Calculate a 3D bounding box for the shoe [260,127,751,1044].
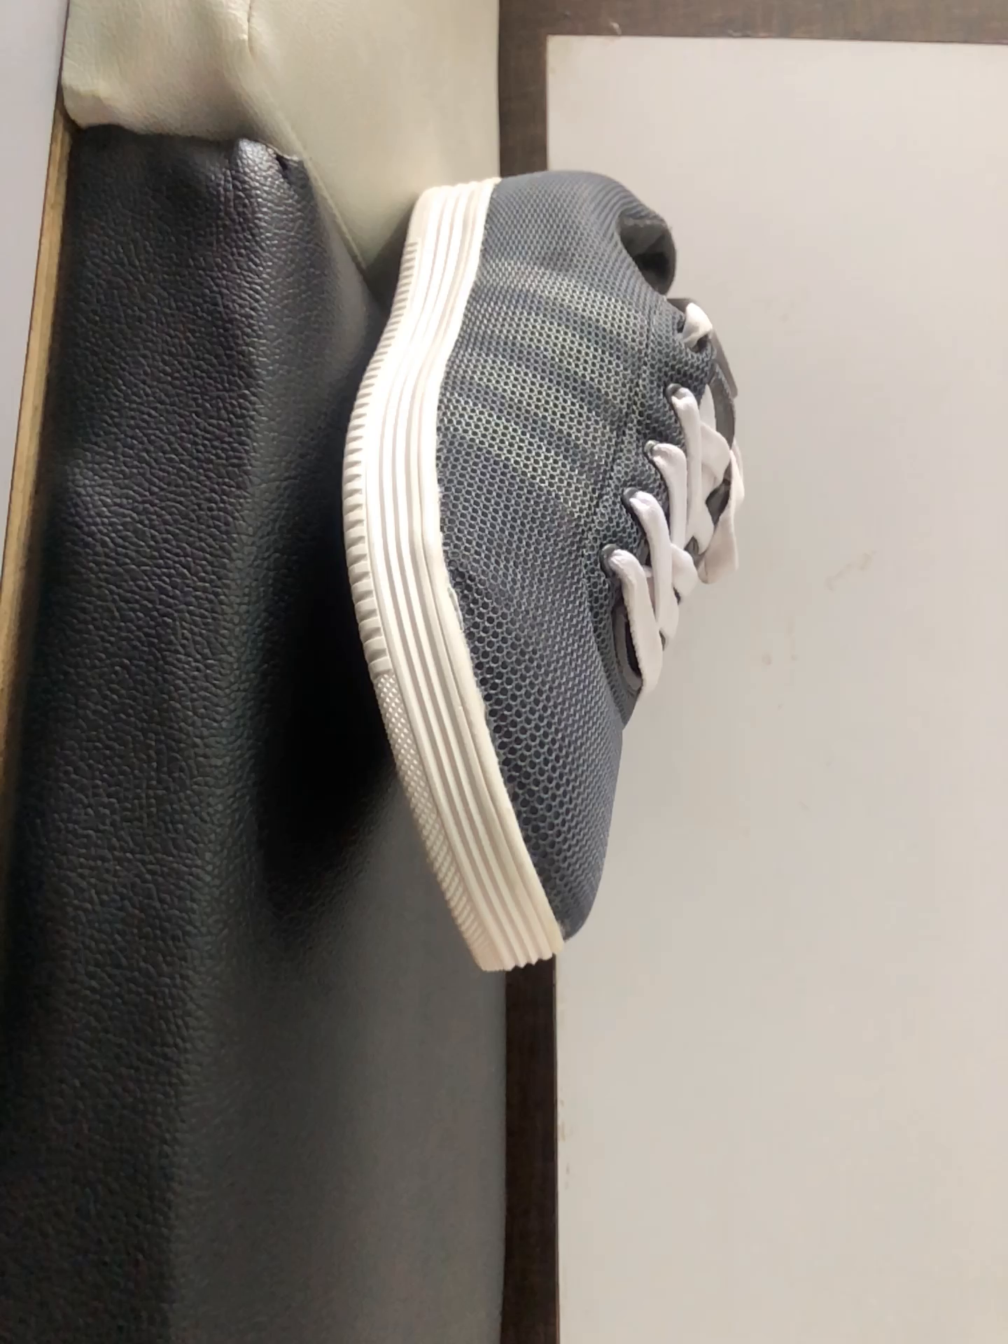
[{"bbox_3d":[0.017,-0.048,0.357,0.100,0.100,0.300,77,14,-50],"label":"shoe"}]
